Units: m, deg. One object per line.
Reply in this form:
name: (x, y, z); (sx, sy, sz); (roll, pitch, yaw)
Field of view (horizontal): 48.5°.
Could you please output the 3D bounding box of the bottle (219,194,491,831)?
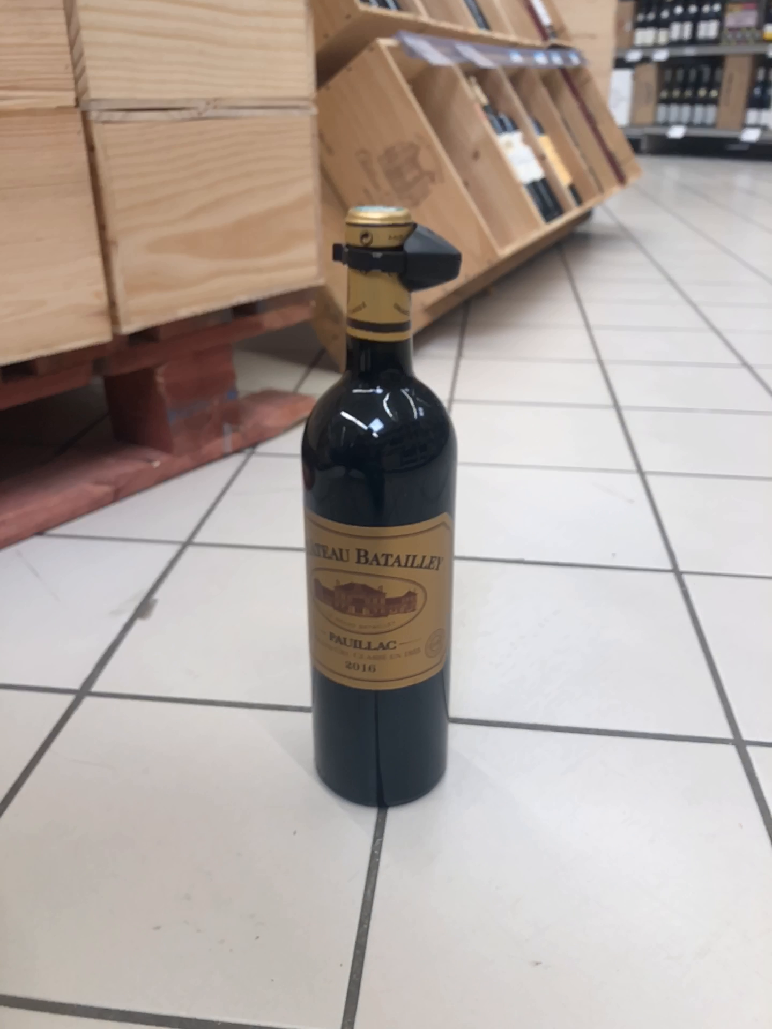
bottle: (-0.009, 0.003, 0.416); (0.090, 0.288, 0.091); (0, 25, 0)
